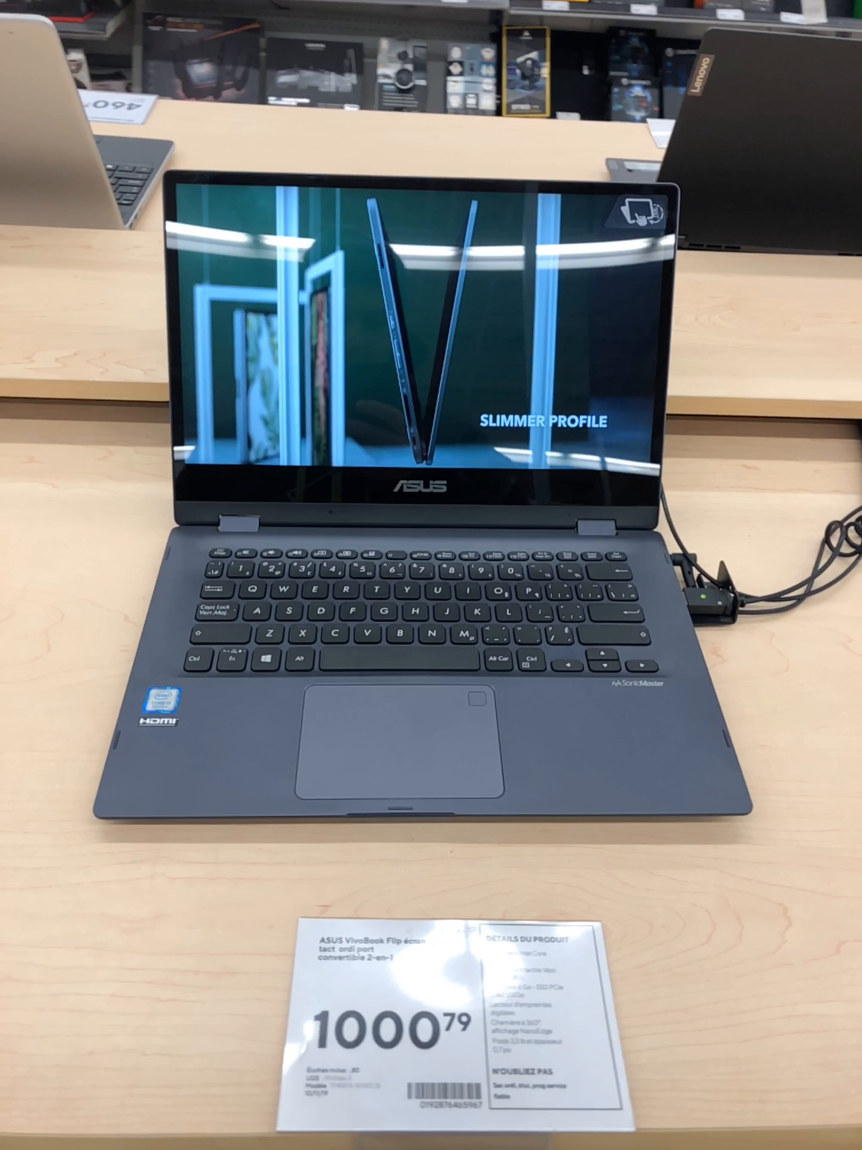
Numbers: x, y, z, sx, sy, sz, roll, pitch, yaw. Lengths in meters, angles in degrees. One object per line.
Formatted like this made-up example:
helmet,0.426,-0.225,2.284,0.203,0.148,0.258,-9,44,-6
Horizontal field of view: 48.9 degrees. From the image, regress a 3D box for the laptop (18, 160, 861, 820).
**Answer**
laptop,-0.003,-0.065,0.532,0.319,0.184,0.332,1,44,-3
